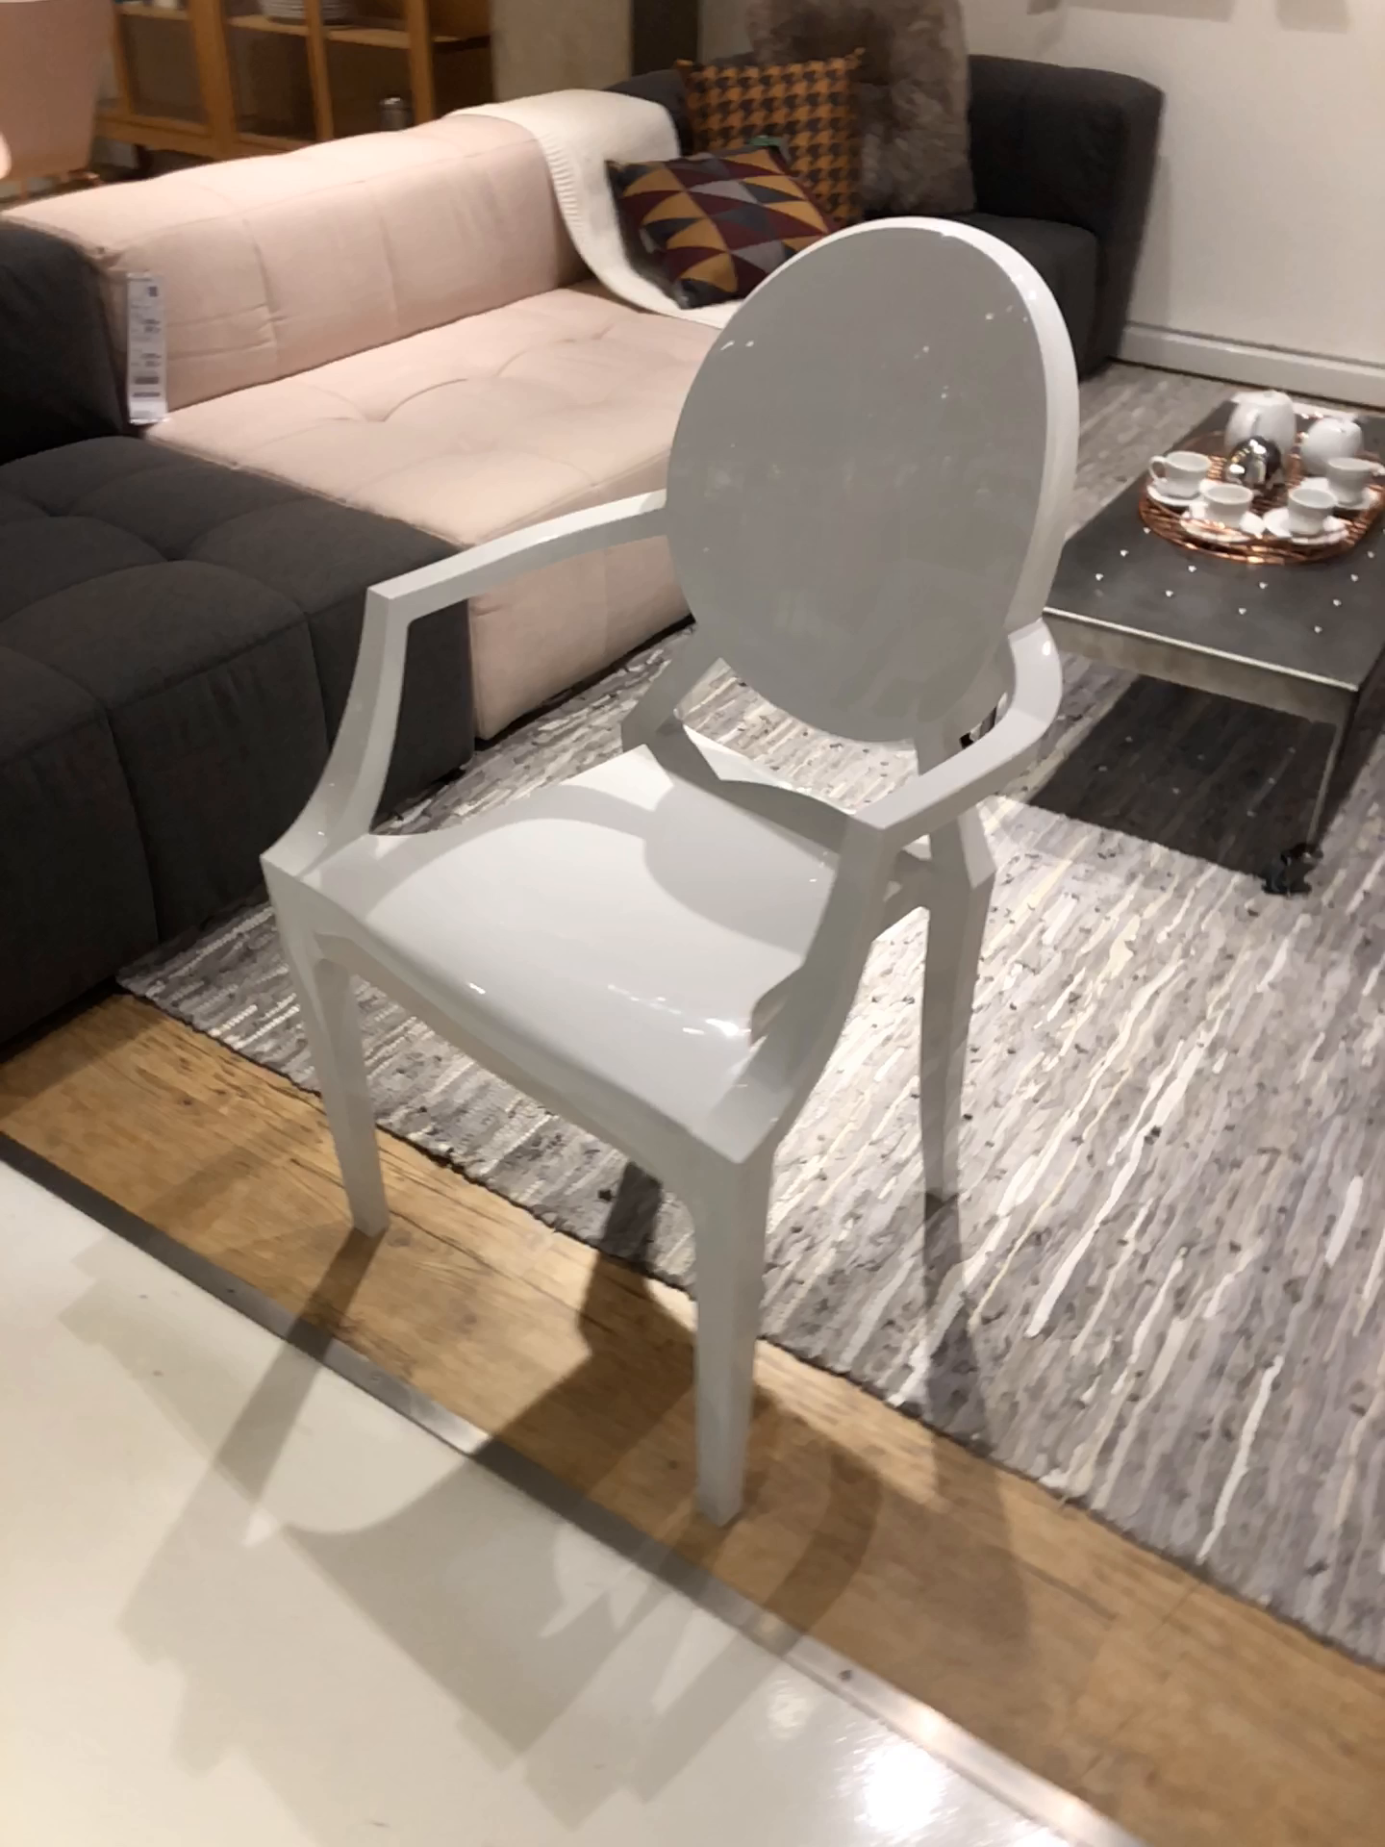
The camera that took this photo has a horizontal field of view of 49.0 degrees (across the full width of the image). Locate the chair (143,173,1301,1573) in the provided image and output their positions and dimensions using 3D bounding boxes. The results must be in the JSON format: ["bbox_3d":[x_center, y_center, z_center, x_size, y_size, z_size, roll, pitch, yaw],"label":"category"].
[{"bbox_3d":[0.027,-0.067,1.223,0.512,0.843,0.553,27,43,31],"label":"chair"}]
